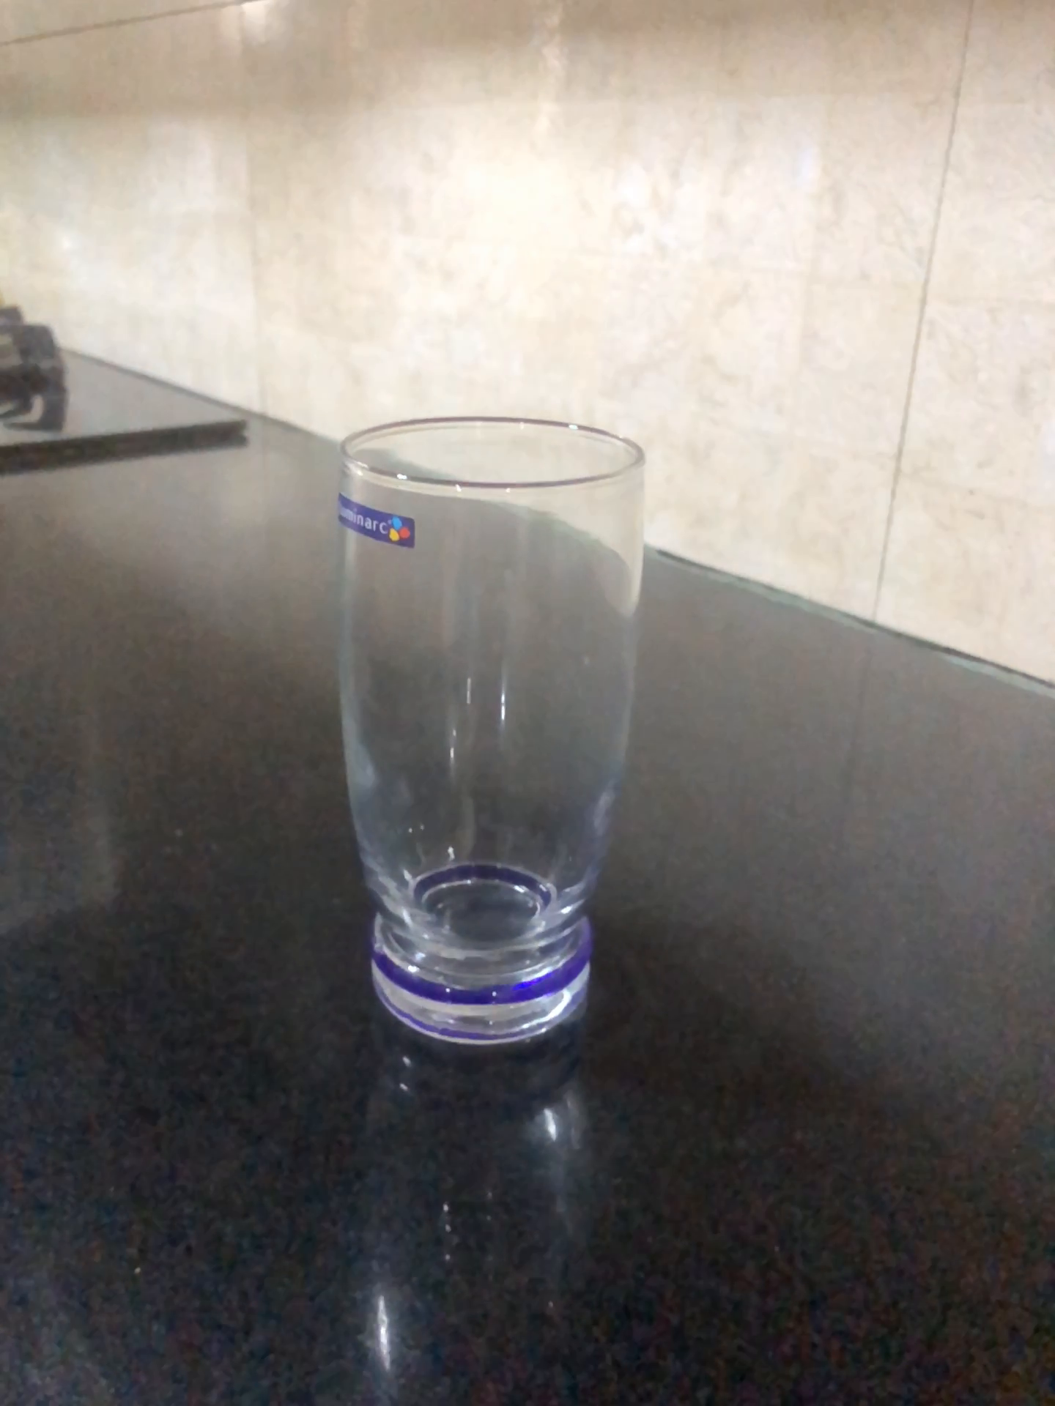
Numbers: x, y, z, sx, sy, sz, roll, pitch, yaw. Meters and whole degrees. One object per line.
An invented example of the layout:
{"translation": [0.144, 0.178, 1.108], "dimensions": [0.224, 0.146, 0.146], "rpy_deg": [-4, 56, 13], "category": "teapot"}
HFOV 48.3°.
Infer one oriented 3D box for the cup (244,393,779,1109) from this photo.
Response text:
{"translation": [-0.005, 0.003, 0.273], "dimensions": [0.080, 0.129, 0.080], "rpy_deg": [2, 23, -1], "category": "cup"}
